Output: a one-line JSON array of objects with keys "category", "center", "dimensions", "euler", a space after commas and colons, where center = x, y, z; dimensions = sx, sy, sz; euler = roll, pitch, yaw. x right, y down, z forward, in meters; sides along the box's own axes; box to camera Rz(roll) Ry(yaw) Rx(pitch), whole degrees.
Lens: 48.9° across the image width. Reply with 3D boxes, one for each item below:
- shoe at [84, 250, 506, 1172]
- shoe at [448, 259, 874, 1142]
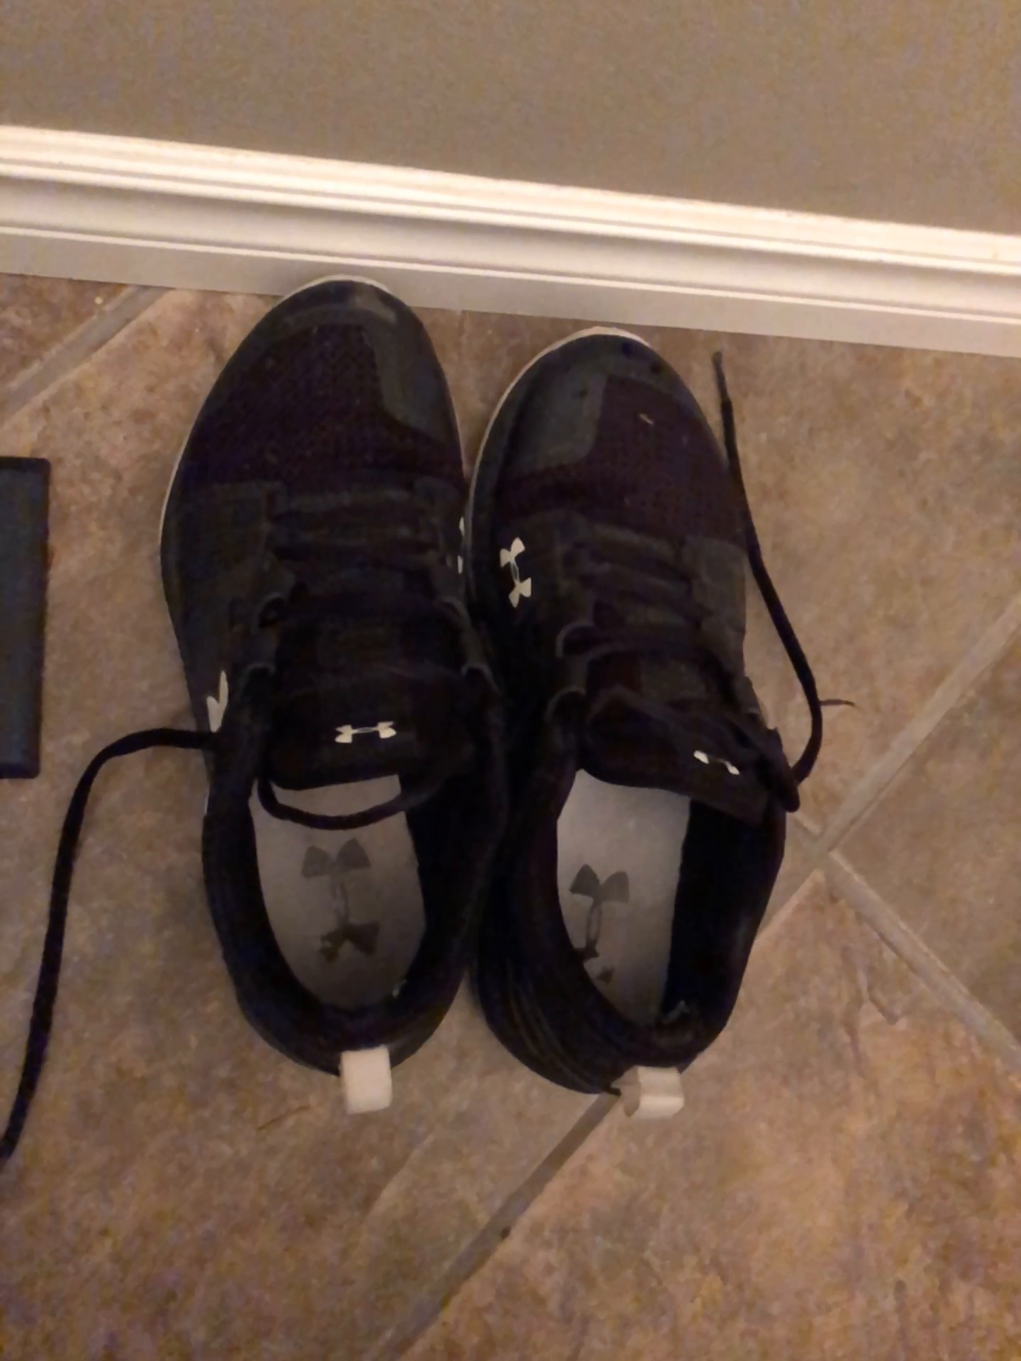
[{"category": "shoe", "center": [-0.067, 0.009, 0.364], "dimensions": [0.110, 0.100, 0.250], "euler": [2, 84, -12]}, {"category": "shoe", "center": [0.043, 0.007, 0.377], "dimensions": [0.110, 0.100, 0.250], "euler": [2, 84, -12]}]
